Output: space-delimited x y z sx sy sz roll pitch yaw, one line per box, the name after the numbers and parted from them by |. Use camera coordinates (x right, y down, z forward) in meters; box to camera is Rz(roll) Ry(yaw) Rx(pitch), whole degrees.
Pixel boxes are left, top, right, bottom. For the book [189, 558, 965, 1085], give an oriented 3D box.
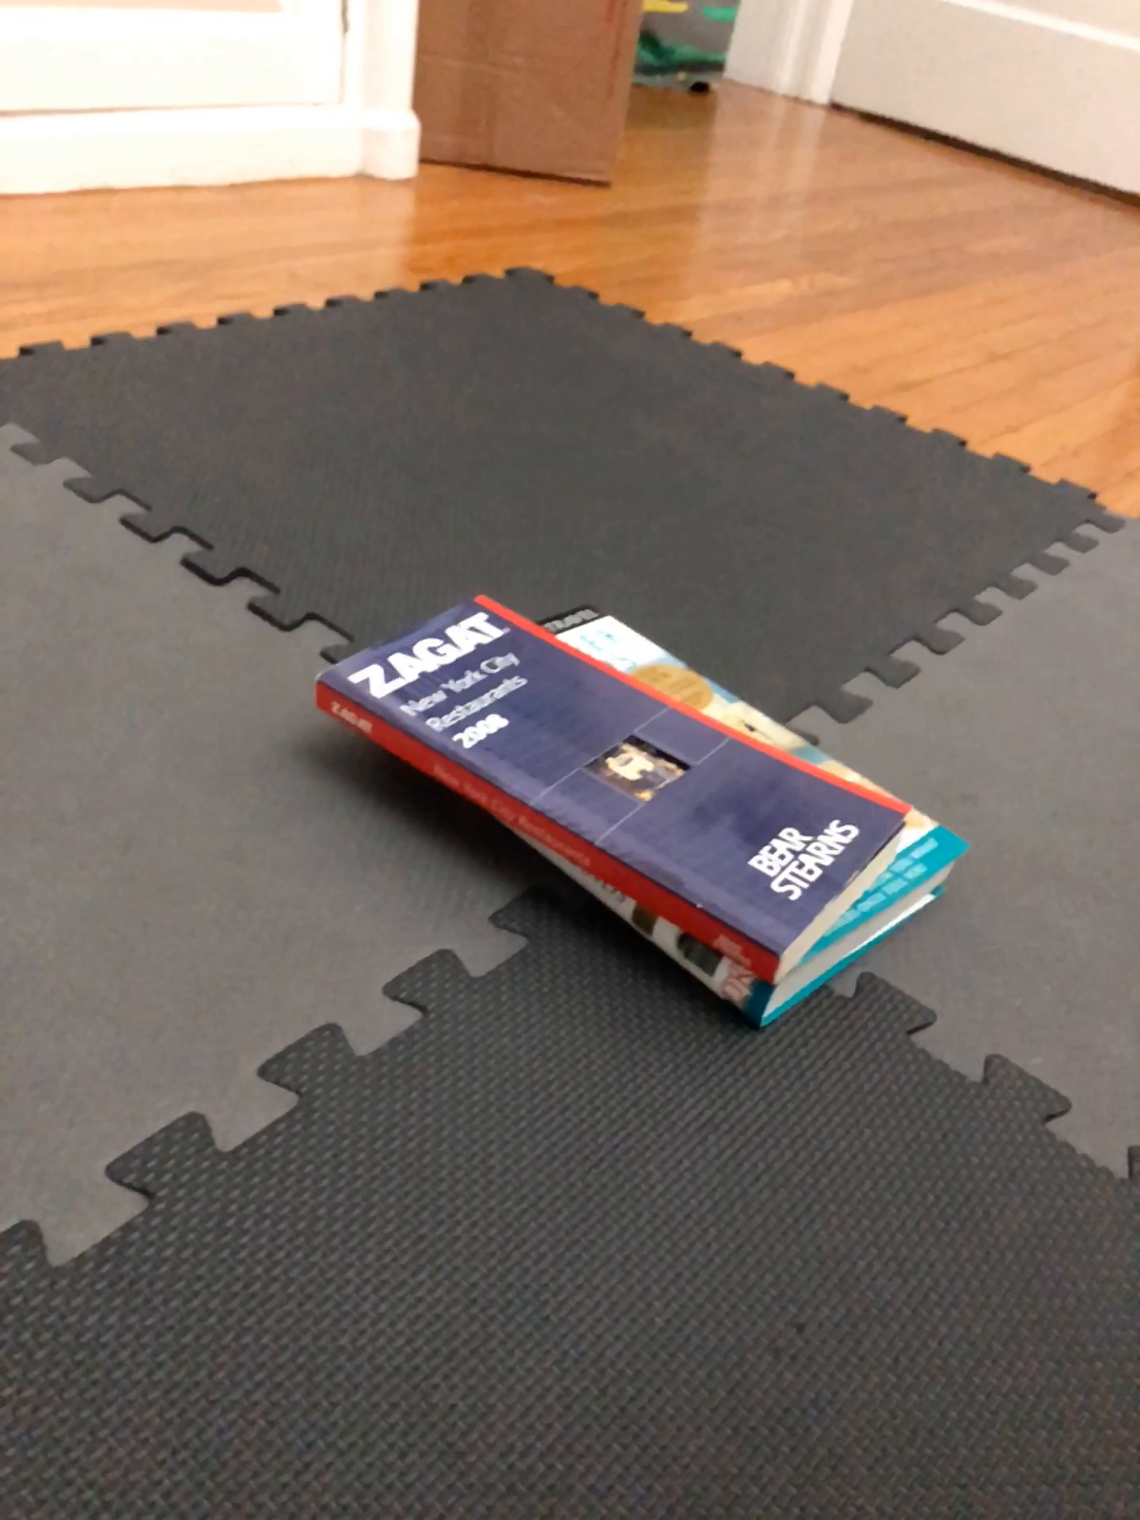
0.002 0.003 0.471 0.250 0.020 0.151 29 39 23 | book

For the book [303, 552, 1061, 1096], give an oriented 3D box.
0.040 0.002 0.513 0.261 0.030 0.171 35 42 30 | book
